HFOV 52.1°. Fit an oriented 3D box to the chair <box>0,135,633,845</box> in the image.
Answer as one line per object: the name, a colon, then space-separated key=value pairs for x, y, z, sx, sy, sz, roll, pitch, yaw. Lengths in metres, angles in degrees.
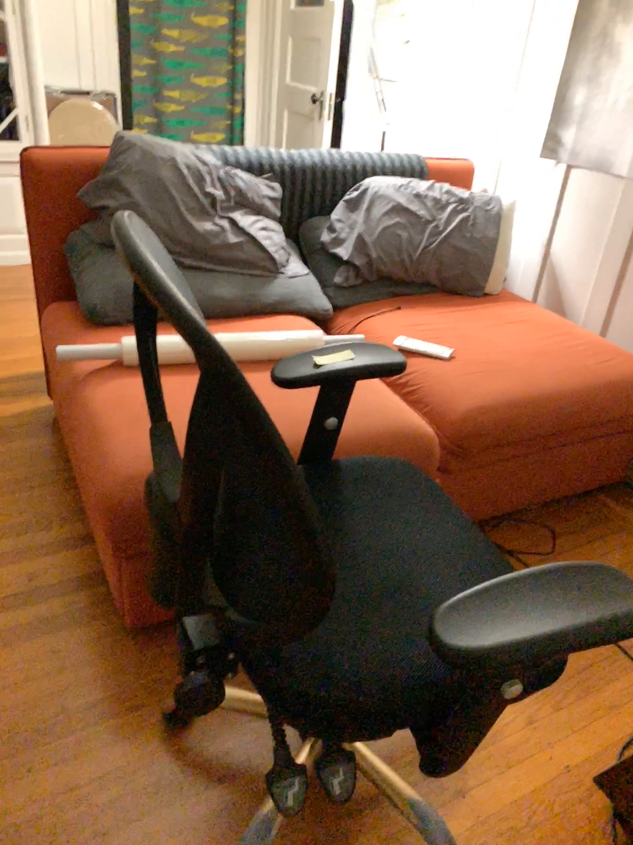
chair: x=0.013 y=0.155 z=0.964 sx=0.660 sy=0.974 sz=0.644 roll=-8 pitch=33 yaw=-15
